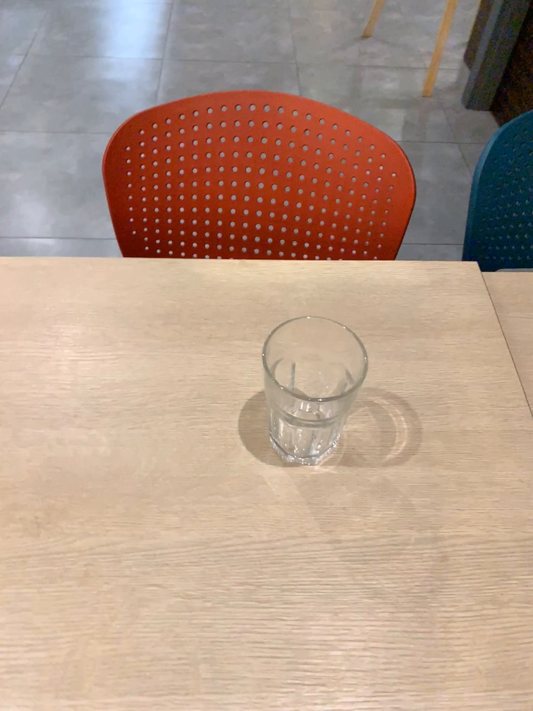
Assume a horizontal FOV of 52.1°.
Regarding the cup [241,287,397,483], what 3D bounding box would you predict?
[{"bbox_3d":[0.035,0.026,0.442,0.080,0.120,0.080,2,53,-2],"label":"cup"}]
